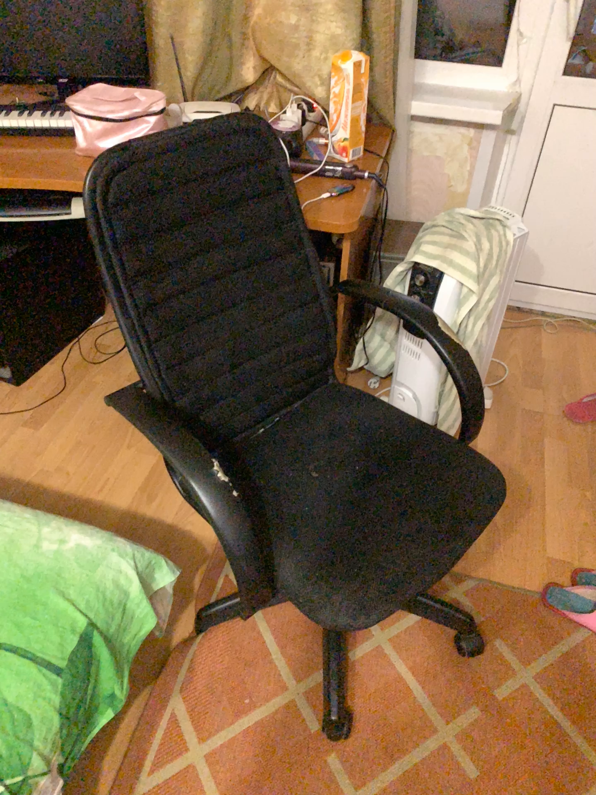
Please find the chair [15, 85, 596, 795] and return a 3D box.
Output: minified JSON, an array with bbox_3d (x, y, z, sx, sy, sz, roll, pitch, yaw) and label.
[{"bbox_3d":[0.085,0.084,1.148,0.673,0.991,0.723,-31,51,-32],"label":"chair"}]
